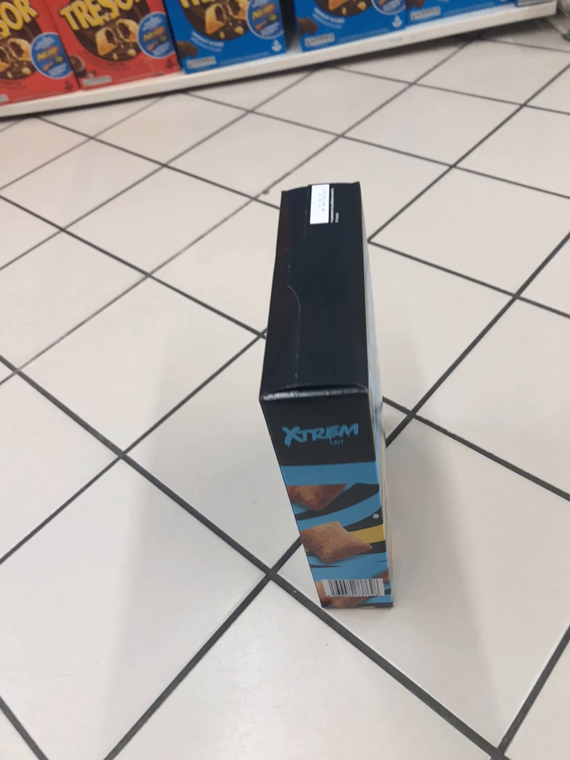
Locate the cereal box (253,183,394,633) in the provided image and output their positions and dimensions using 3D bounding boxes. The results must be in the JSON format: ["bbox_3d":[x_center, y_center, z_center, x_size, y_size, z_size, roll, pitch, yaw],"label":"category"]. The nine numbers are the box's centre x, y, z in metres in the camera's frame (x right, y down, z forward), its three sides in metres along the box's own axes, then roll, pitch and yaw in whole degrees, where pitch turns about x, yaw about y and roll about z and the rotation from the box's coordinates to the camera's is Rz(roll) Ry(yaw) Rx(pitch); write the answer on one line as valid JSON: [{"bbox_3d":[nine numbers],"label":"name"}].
[{"bbox_3d":[0.038,0.031,0.453,0.060,0.258,0.201,-4,47,8],"label":"cereal box"}]
